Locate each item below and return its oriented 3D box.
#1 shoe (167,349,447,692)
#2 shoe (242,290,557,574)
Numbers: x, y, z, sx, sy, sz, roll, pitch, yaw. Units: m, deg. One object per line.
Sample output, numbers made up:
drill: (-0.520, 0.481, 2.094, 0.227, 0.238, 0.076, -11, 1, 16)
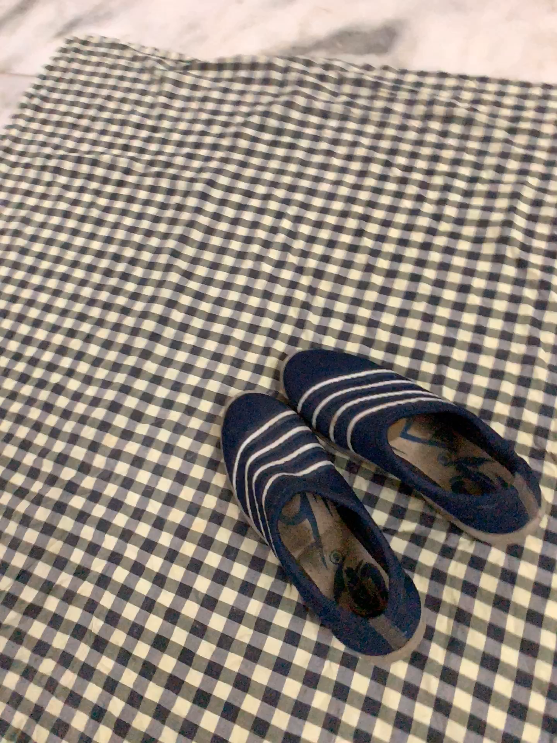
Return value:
shoe: (0.017, 0.116, 0.476, 0.090, 0.100, 0.251, -33, 62, -7)
shoe: (0.098, 0.046, 0.486, 0.251, 0.090, 0.090, 35, 74, 24)
